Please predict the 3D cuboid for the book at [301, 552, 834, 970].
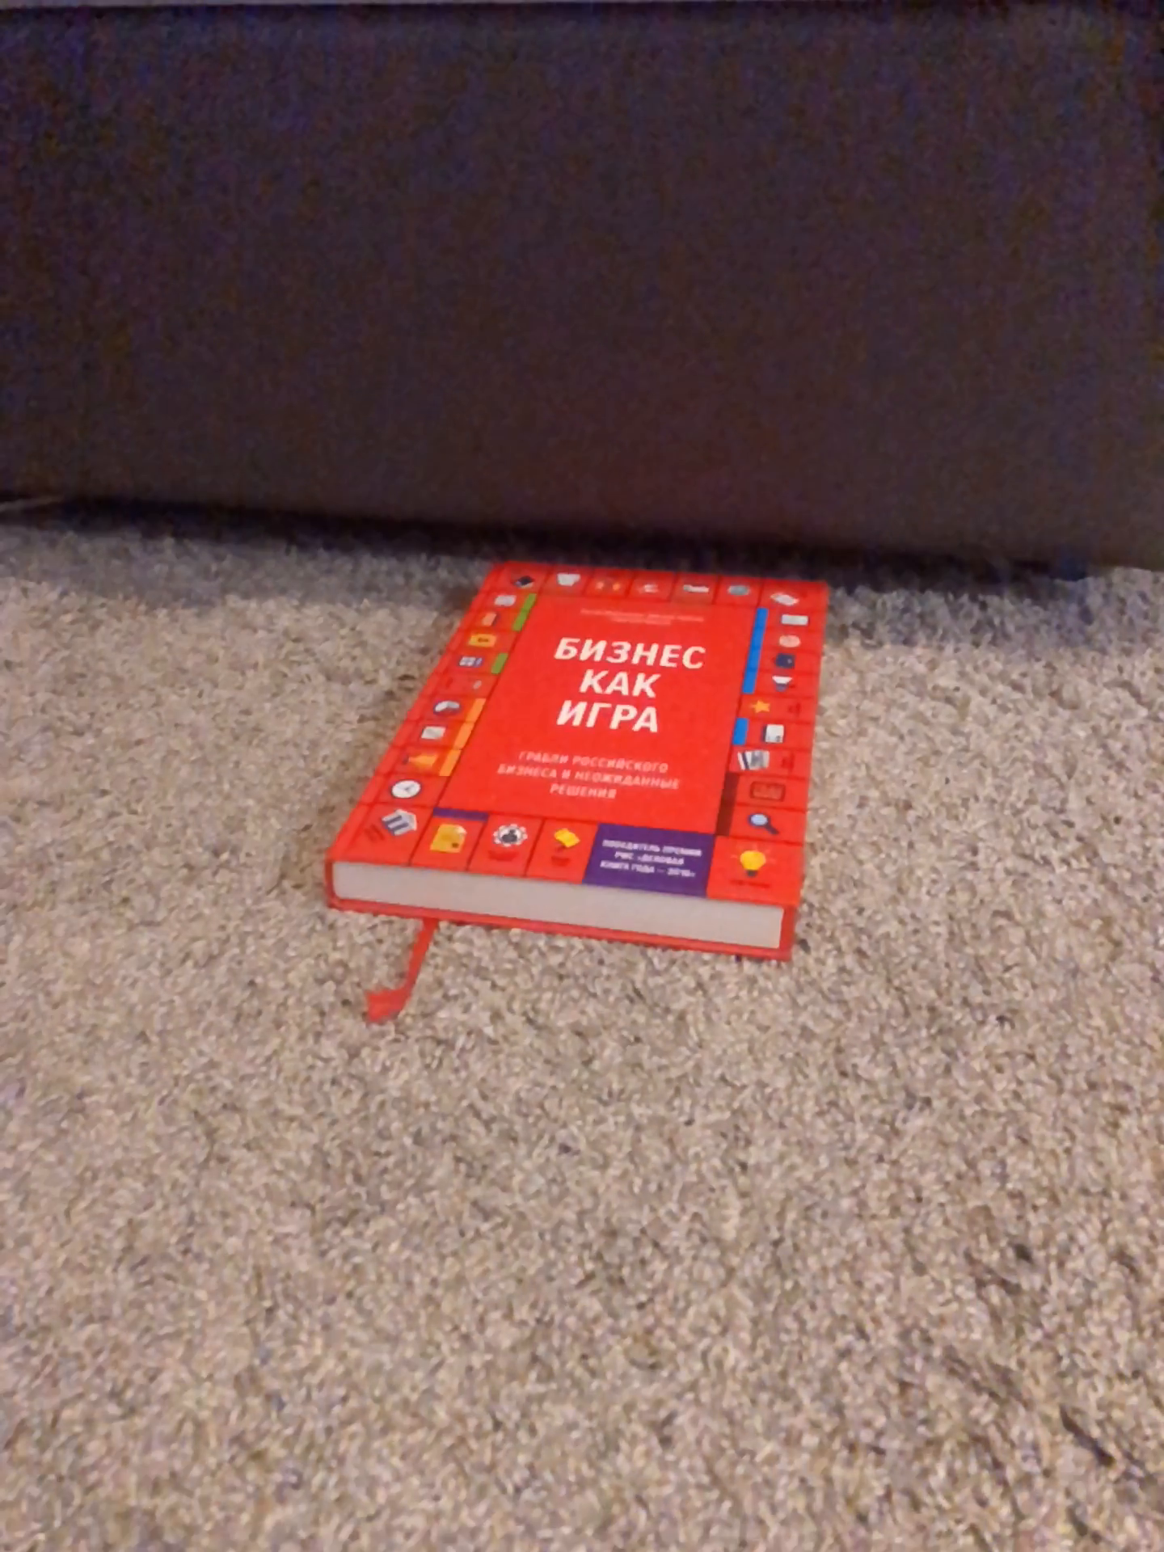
[{"bbox_3d":[0.012,-0.024,0.544,0.179,0.033,0.248,5,35,10],"label":"book"}]
